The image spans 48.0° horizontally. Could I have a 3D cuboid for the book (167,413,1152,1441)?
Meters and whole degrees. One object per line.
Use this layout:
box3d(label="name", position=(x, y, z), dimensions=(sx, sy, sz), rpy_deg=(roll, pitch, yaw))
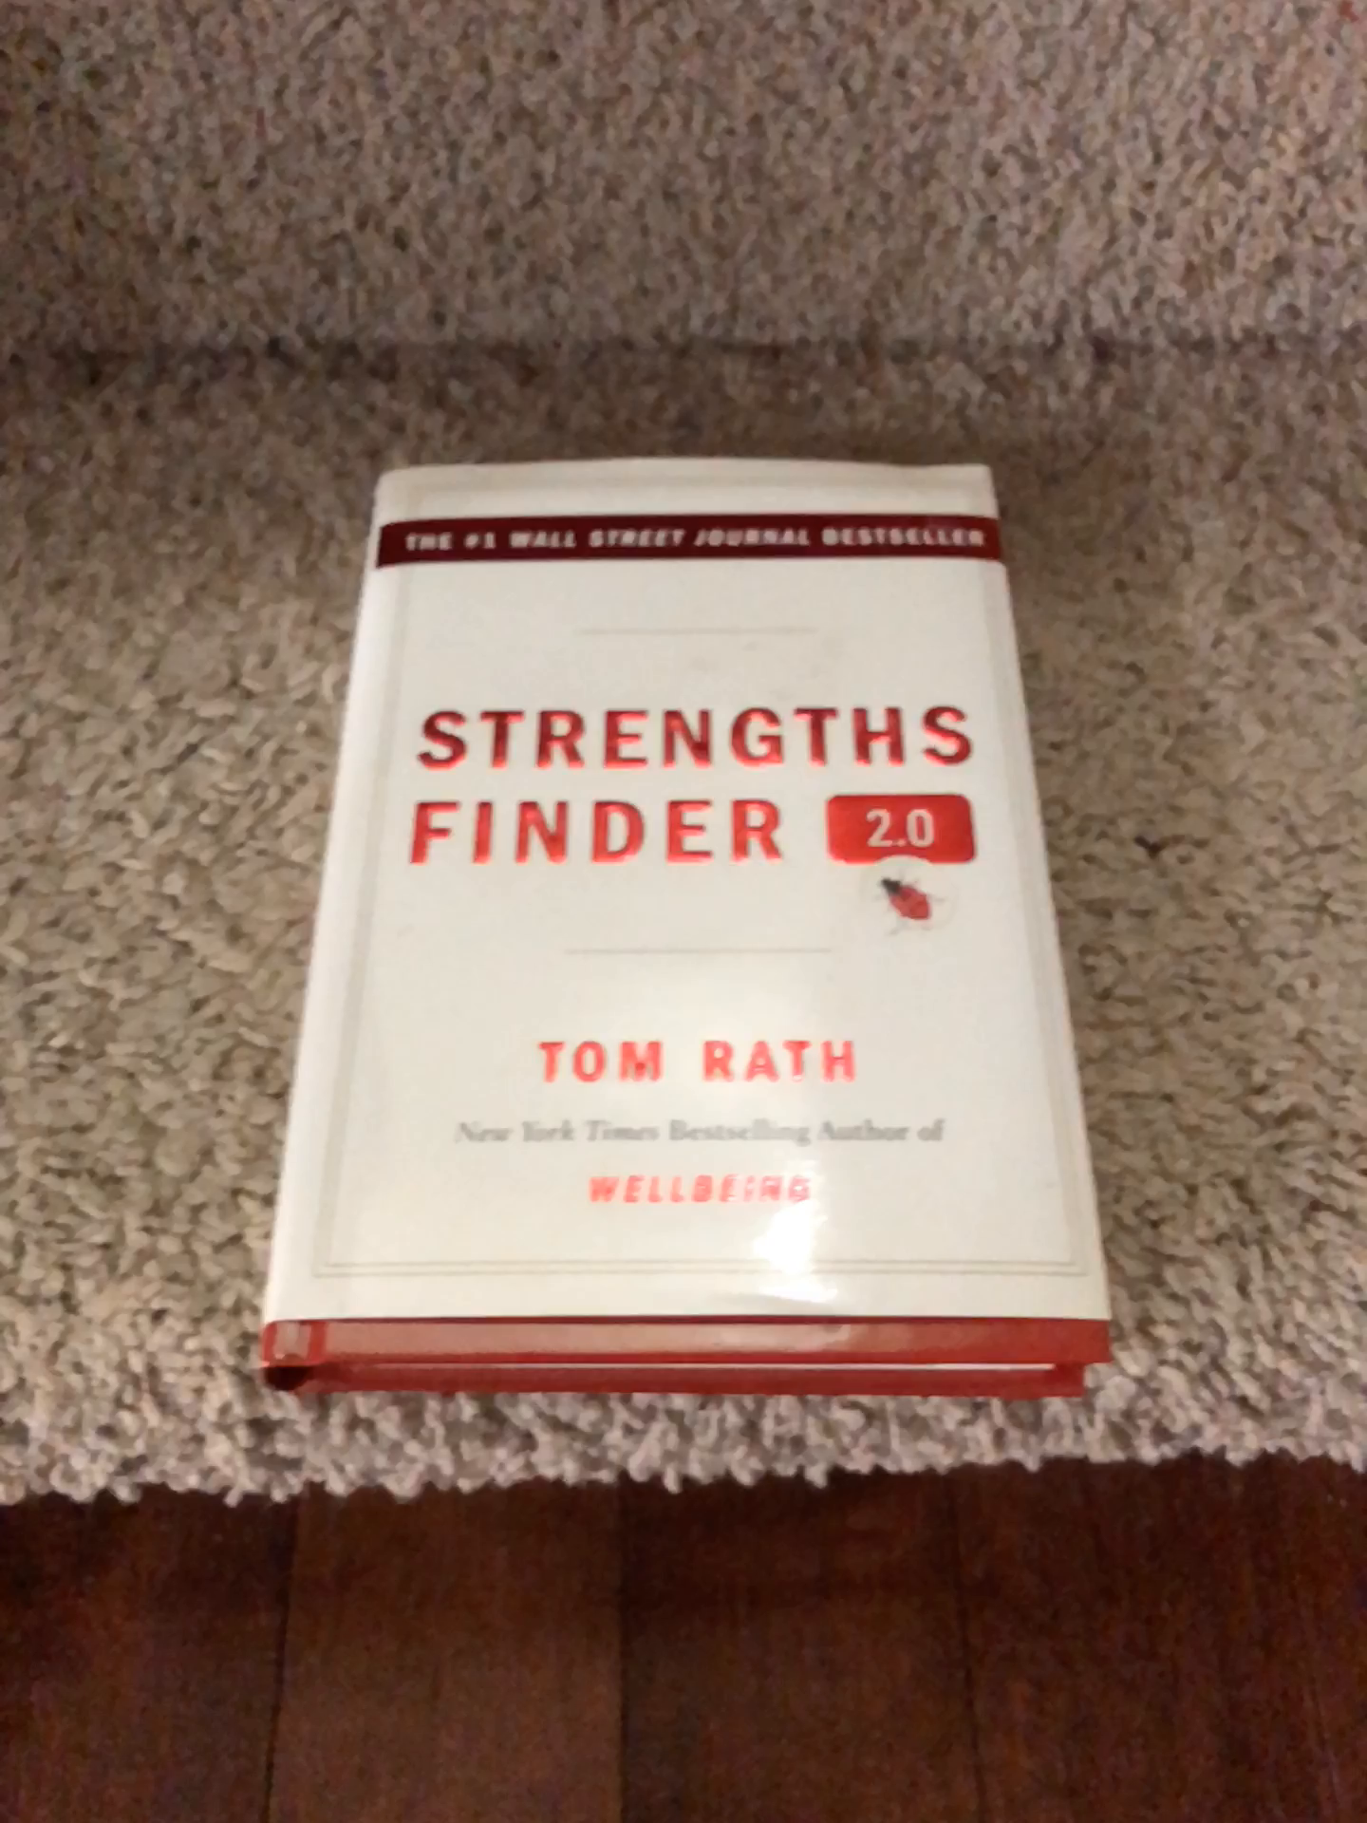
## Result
box3d(label="book", position=(-0.002, -0.009, 0.272), dimensions=(0.136, 0.029, 0.190), rpy_deg=(1, 60, 0))
